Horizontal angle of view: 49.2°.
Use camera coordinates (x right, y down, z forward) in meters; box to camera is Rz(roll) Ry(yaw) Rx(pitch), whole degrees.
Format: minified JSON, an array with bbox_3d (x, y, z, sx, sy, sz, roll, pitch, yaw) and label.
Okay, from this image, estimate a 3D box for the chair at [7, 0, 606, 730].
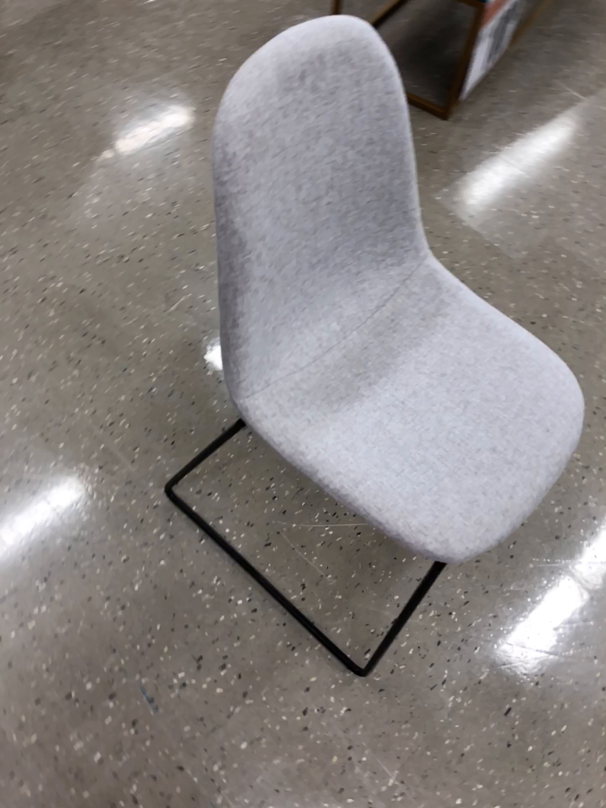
[{"bbox_3d":[0.107,-0.027,0.964,0.580,0.779,0.591,42,63,18],"label":"chair"}]
